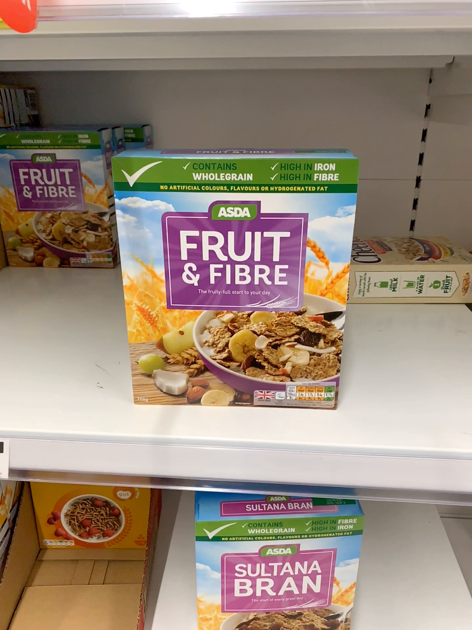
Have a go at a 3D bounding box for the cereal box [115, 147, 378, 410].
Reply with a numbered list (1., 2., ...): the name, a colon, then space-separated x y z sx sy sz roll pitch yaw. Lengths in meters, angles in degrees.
1. cereal box: 0.011 -0.037 0.510 0.230 0.258 0.081 1 23 4
